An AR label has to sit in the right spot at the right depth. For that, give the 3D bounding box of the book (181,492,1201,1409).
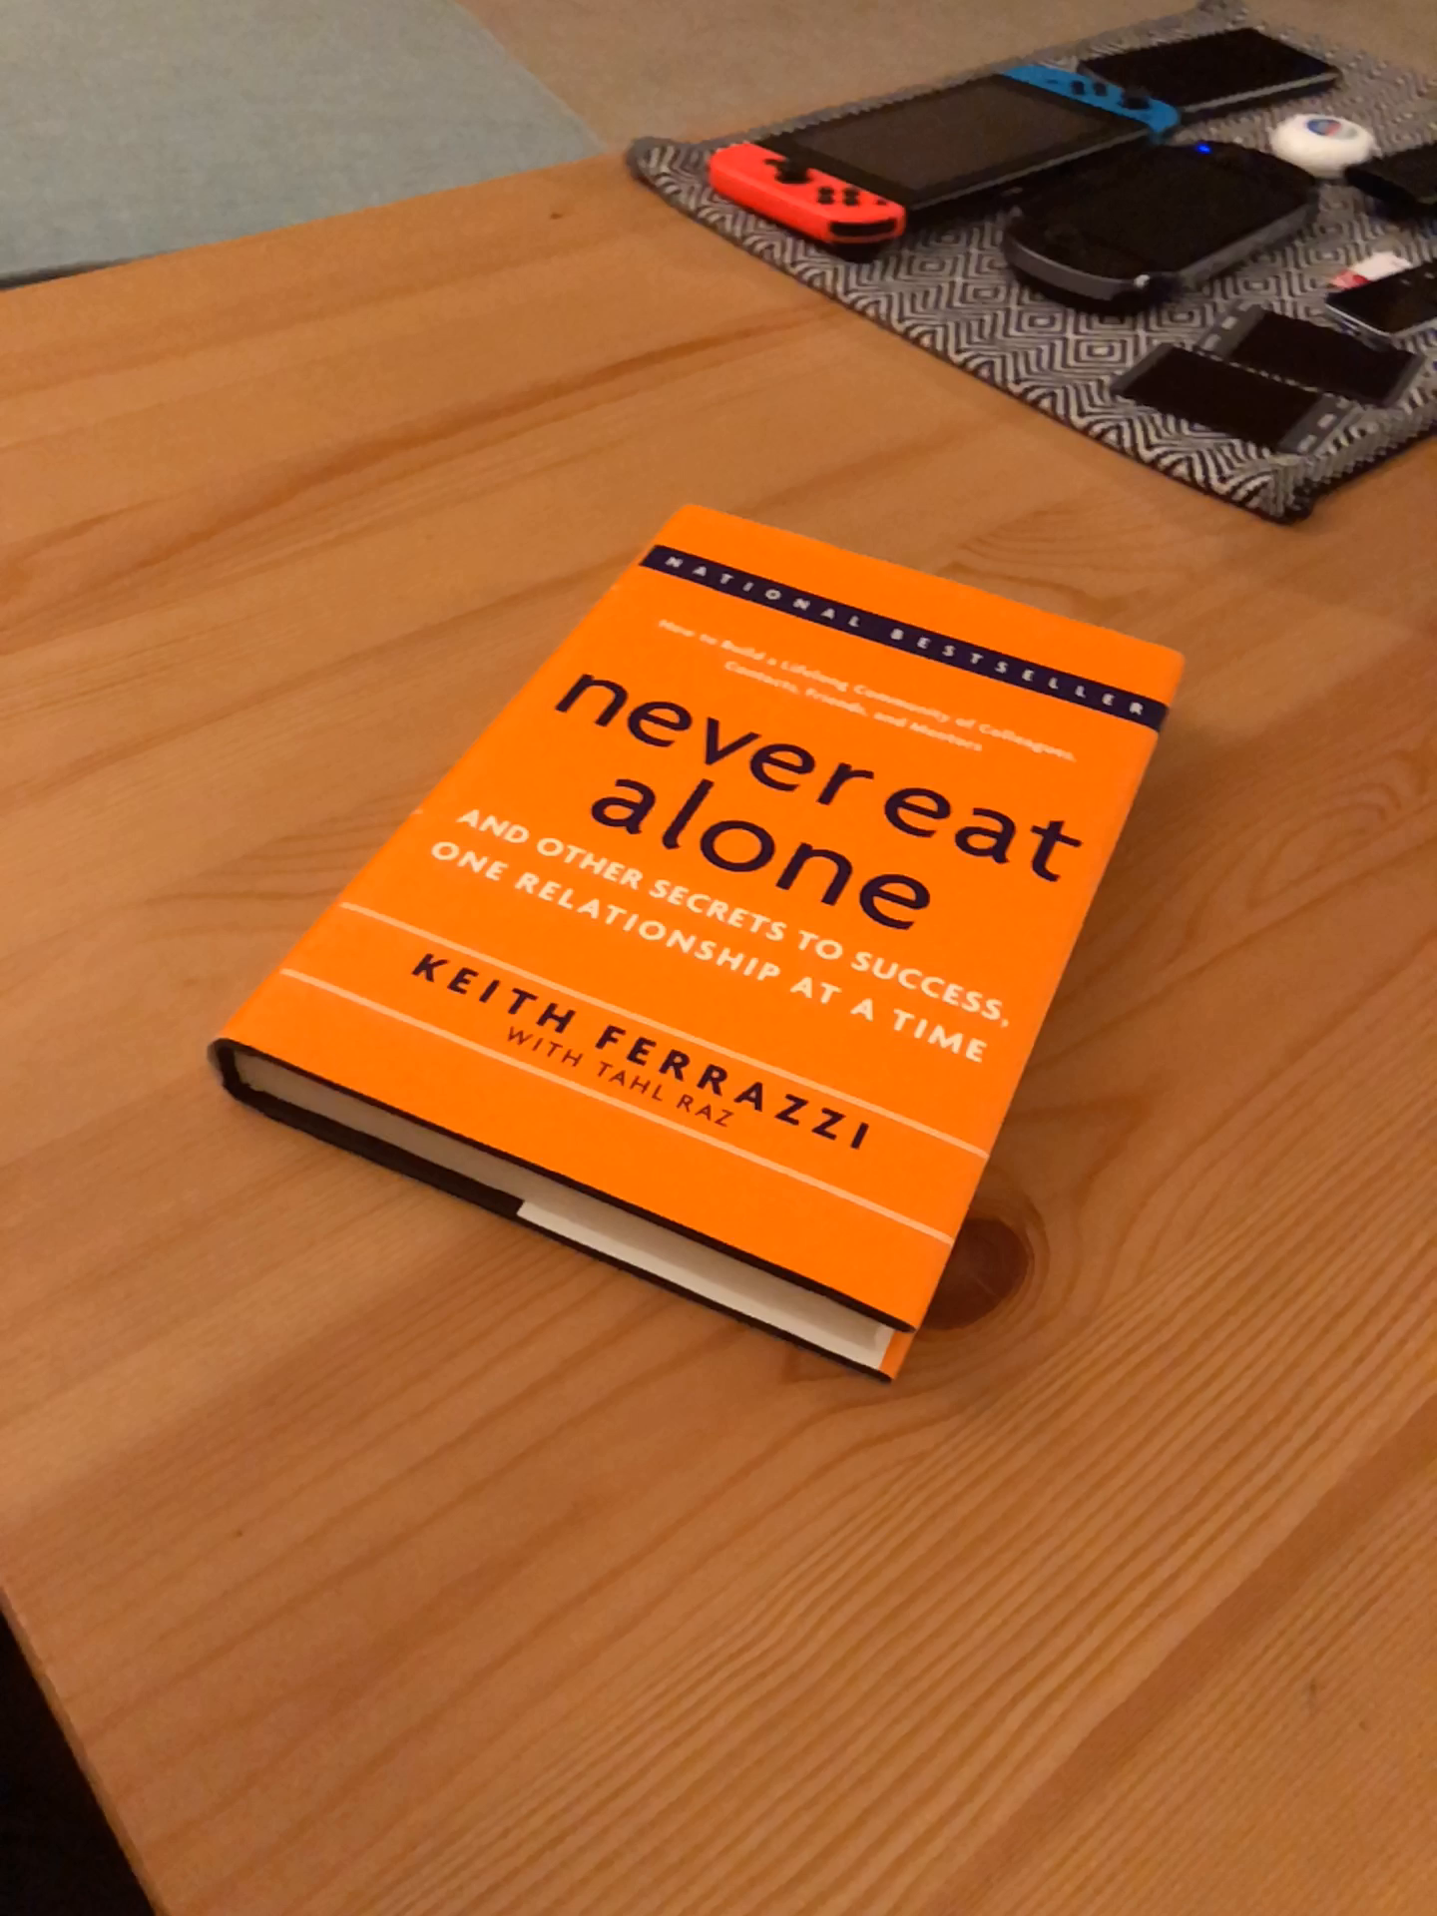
[{"bbox_3d":[0.011,-0.027,0.400,0.166,0.025,0.241,21,49,13],"label":"book"}]
